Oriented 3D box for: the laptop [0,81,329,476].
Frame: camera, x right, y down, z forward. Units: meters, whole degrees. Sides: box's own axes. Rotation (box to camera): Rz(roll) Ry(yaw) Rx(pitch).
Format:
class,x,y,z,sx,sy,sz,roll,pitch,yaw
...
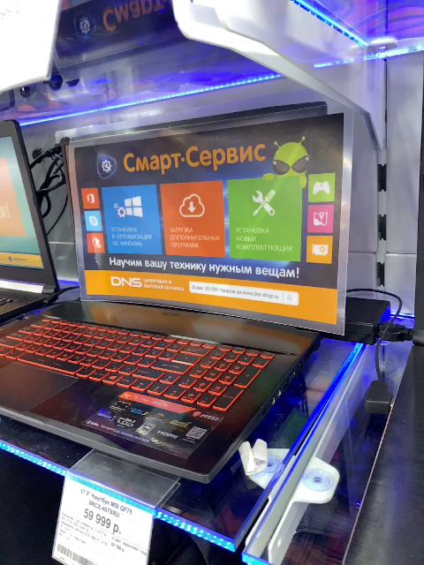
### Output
class,x,y,z,sx,sy,sz,roll,pitch,yaw
laptop,-0.118,-0.043,0.471,0.405,0.237,0.287,4,19,31
